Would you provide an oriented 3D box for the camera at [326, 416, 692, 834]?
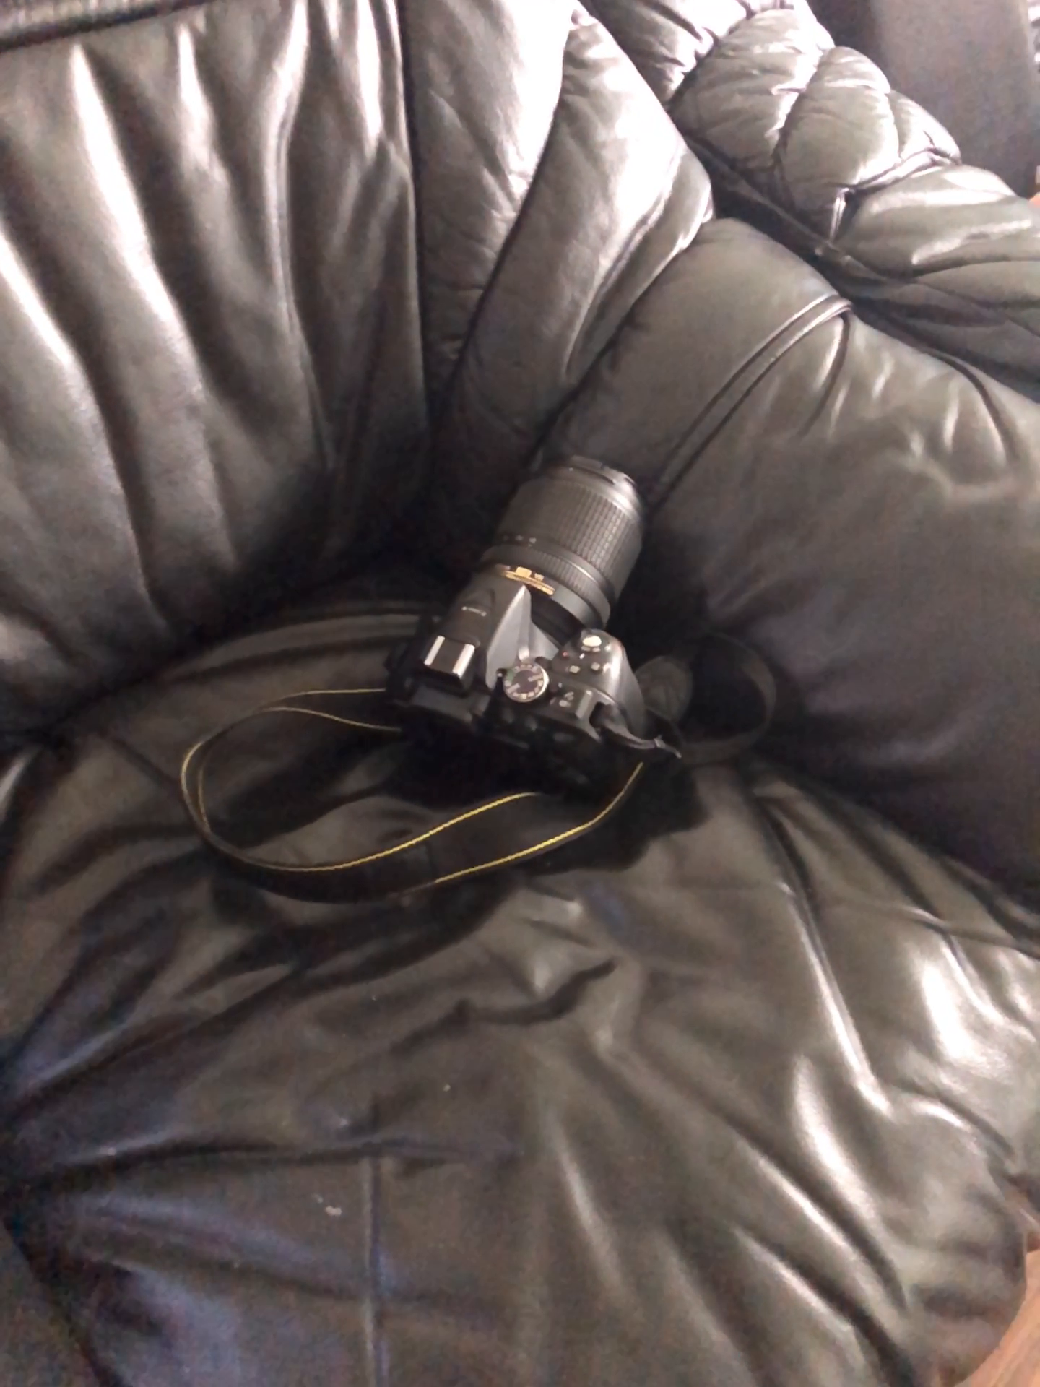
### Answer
[{"bbox_3d":[0.005,-0.039,0.667,0.140,0.130,0.170,17,65,18],"label":"camera"}]
